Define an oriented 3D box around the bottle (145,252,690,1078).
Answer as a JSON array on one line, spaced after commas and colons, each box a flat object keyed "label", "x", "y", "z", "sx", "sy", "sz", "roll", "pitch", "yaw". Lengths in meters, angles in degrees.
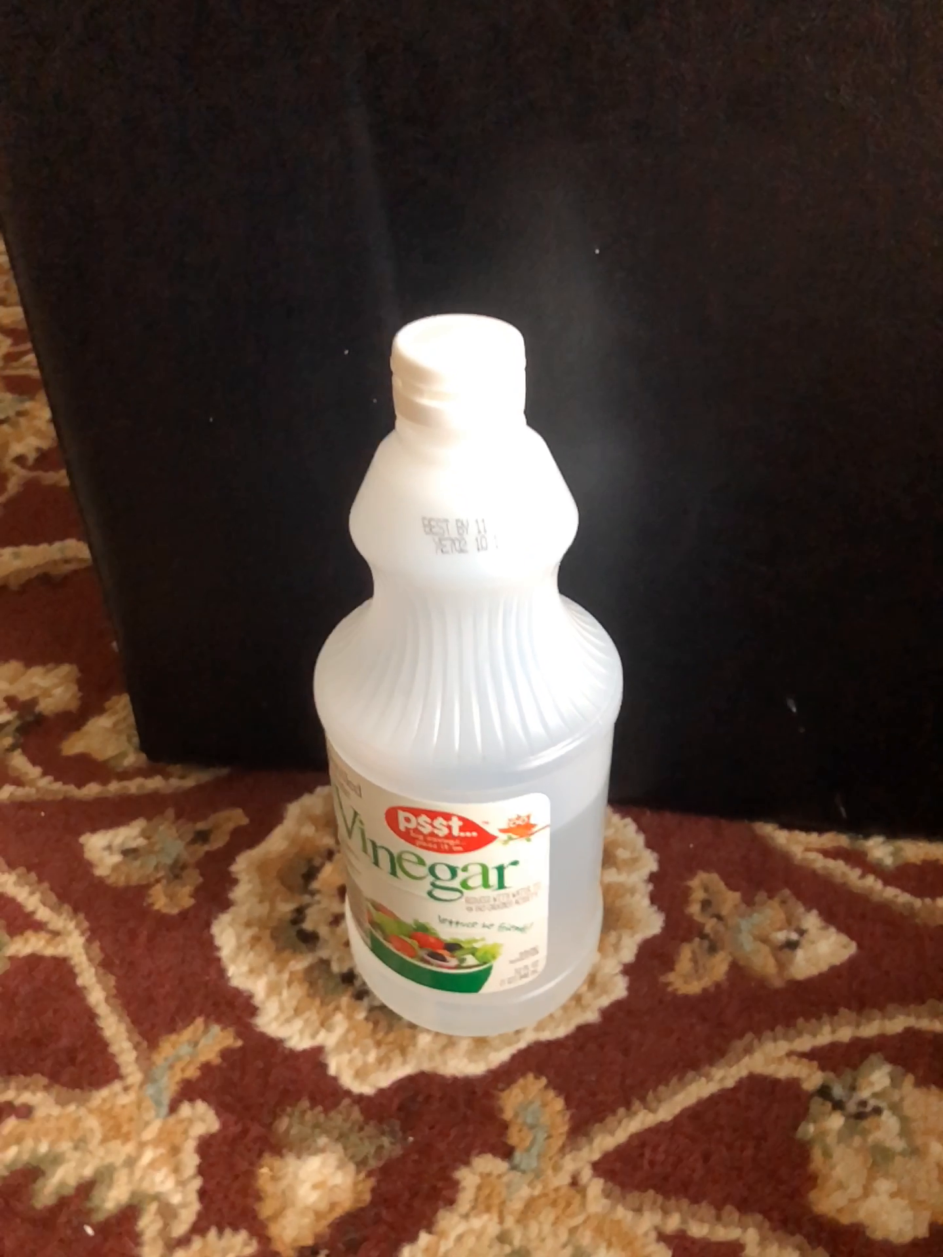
[{"label": "bottle", "x": -0.005, "y": 0.018, "z": 0.310, "sx": 0.100, "sy": 0.219, "sz": 0.090, "roll": 11, "pitch": 39, "yaw": 16}]
